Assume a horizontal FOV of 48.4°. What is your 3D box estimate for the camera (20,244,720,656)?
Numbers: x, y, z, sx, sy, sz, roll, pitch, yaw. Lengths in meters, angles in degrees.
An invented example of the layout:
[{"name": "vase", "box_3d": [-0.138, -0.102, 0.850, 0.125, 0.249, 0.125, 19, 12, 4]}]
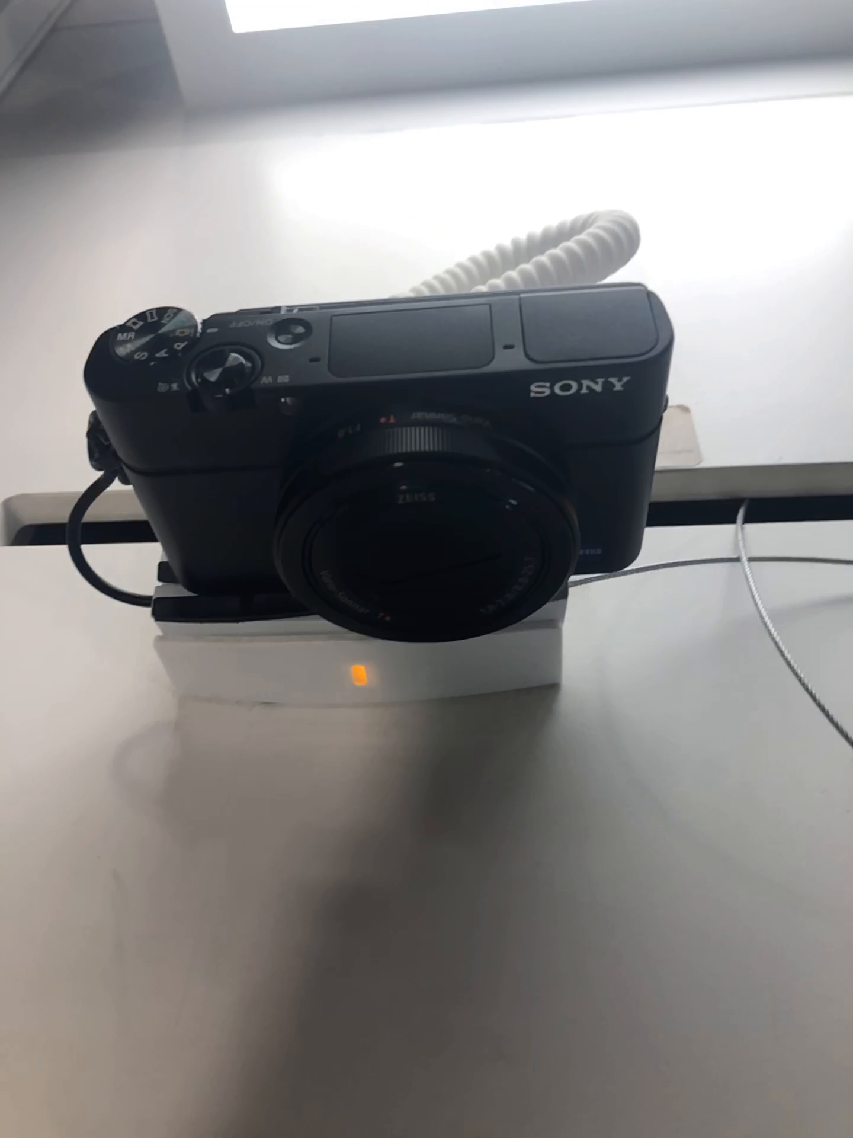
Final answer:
[{"name": "camera", "box_3d": [-0.007, -0.019, 0.169, 0.102, 0.051, 0.041, -4, 49, 5]}]
